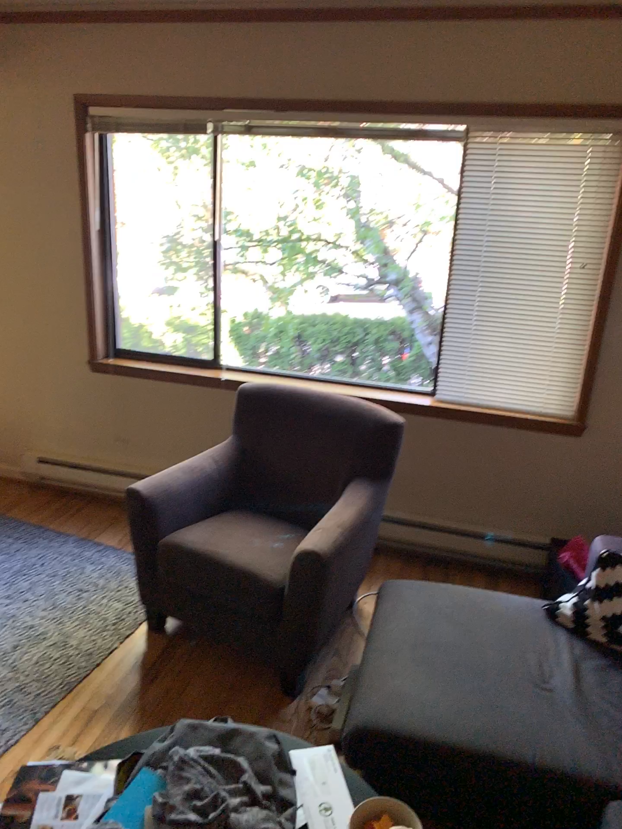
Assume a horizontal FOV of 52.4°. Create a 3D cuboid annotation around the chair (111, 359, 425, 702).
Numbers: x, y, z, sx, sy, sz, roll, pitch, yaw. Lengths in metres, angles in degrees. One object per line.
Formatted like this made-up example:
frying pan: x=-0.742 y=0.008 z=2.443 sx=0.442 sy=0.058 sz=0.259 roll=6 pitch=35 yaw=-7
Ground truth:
chair: x=-0.157 y=0.344 z=2.484 sx=0.882 sy=0.876 sz=0.801 roll=13 pitch=18 yaw=26
